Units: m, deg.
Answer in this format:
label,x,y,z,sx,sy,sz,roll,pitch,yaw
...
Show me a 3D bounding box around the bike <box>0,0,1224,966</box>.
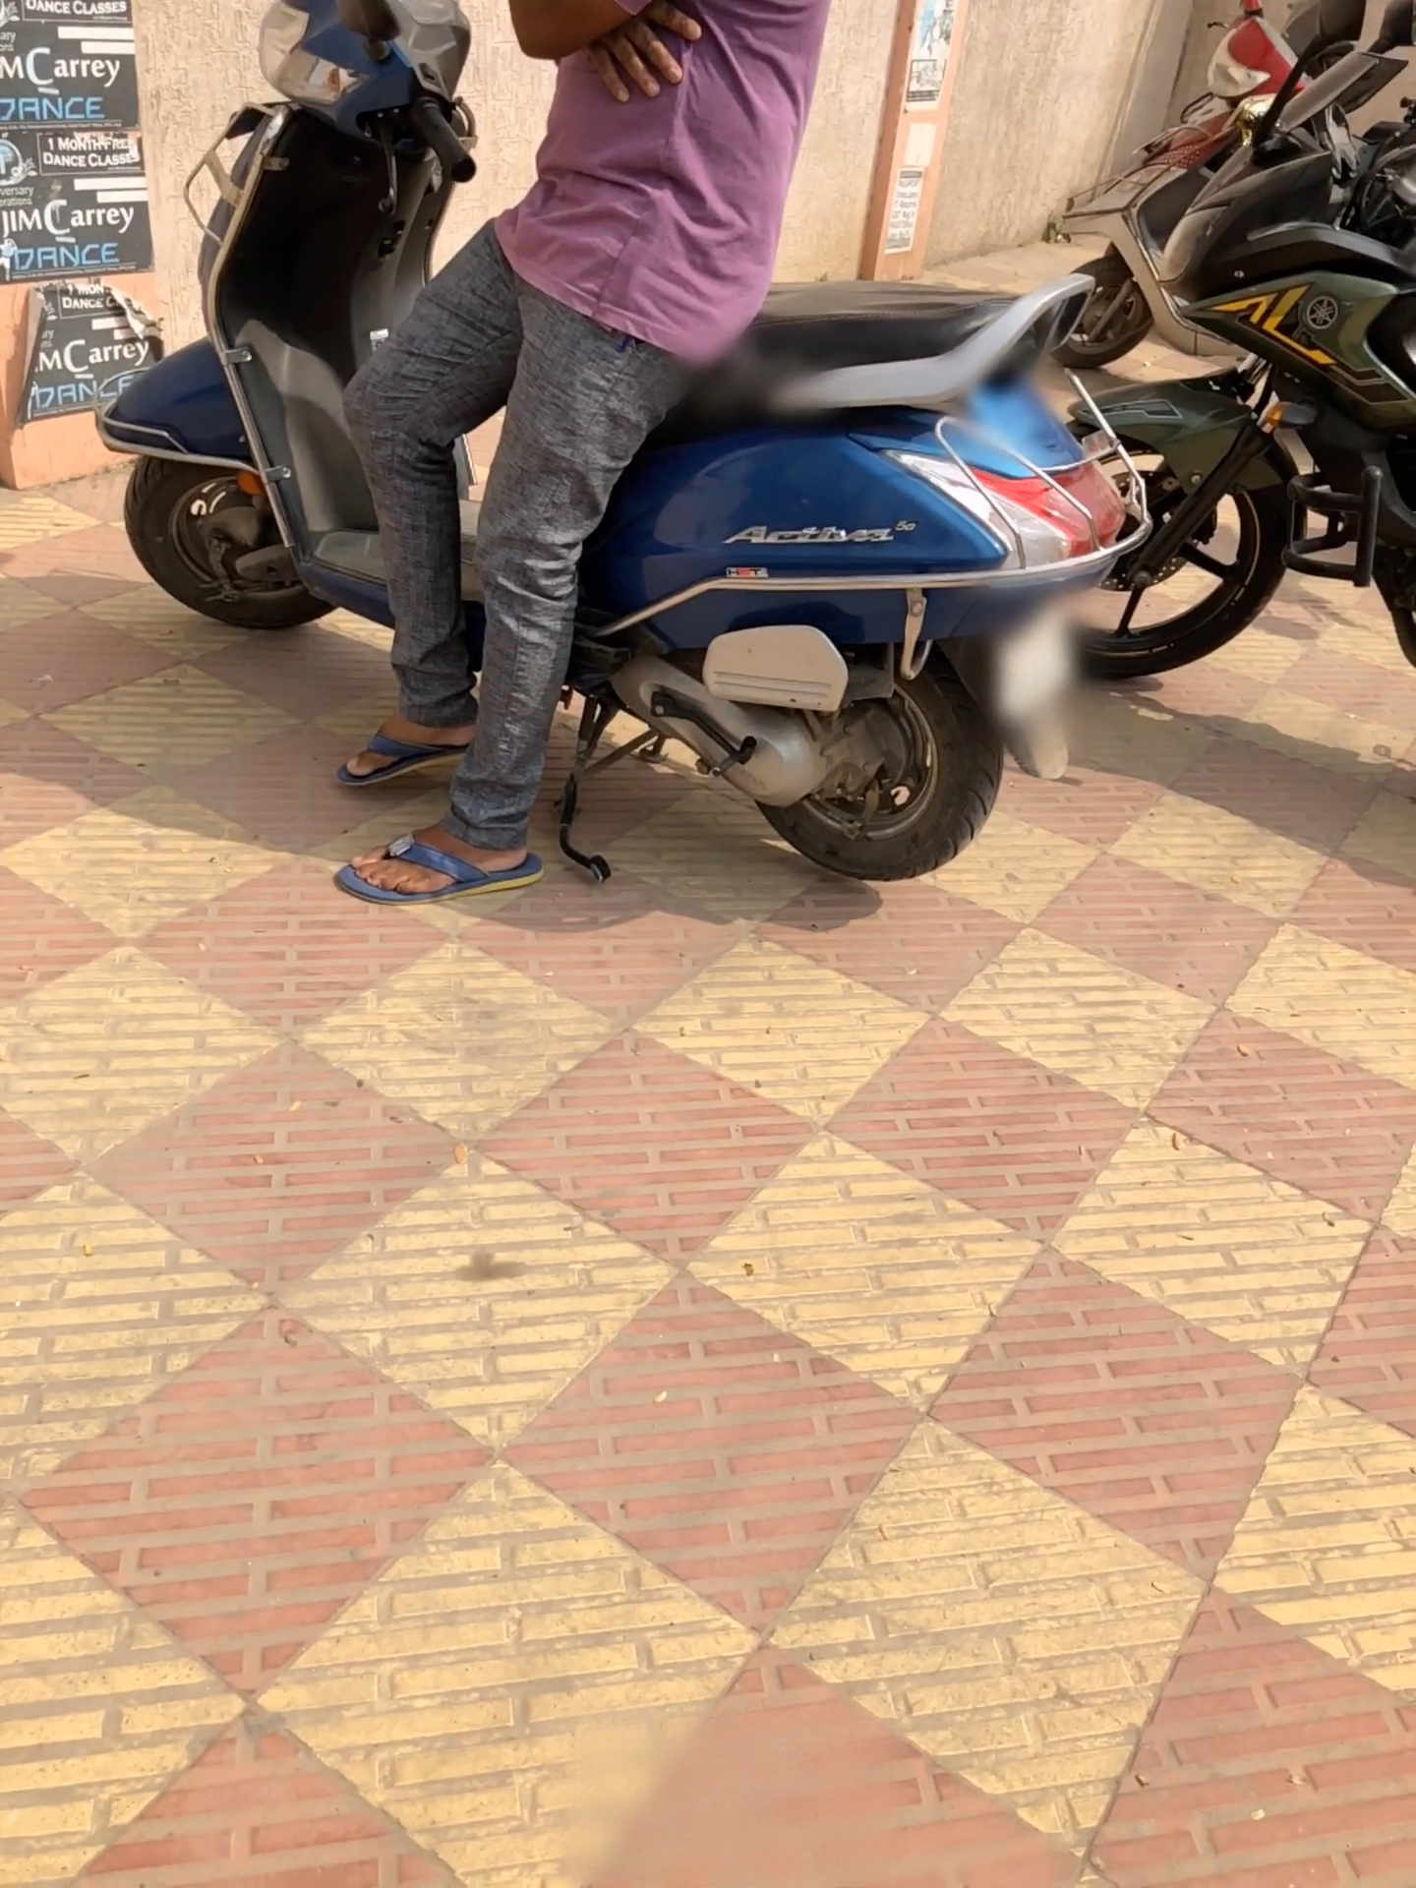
label,x,y,z,sx,sy,sz,roll,pitch,yaw
bike,-0.274,-0.825,2.359,1.699,1.037,0.627,21,37,21
